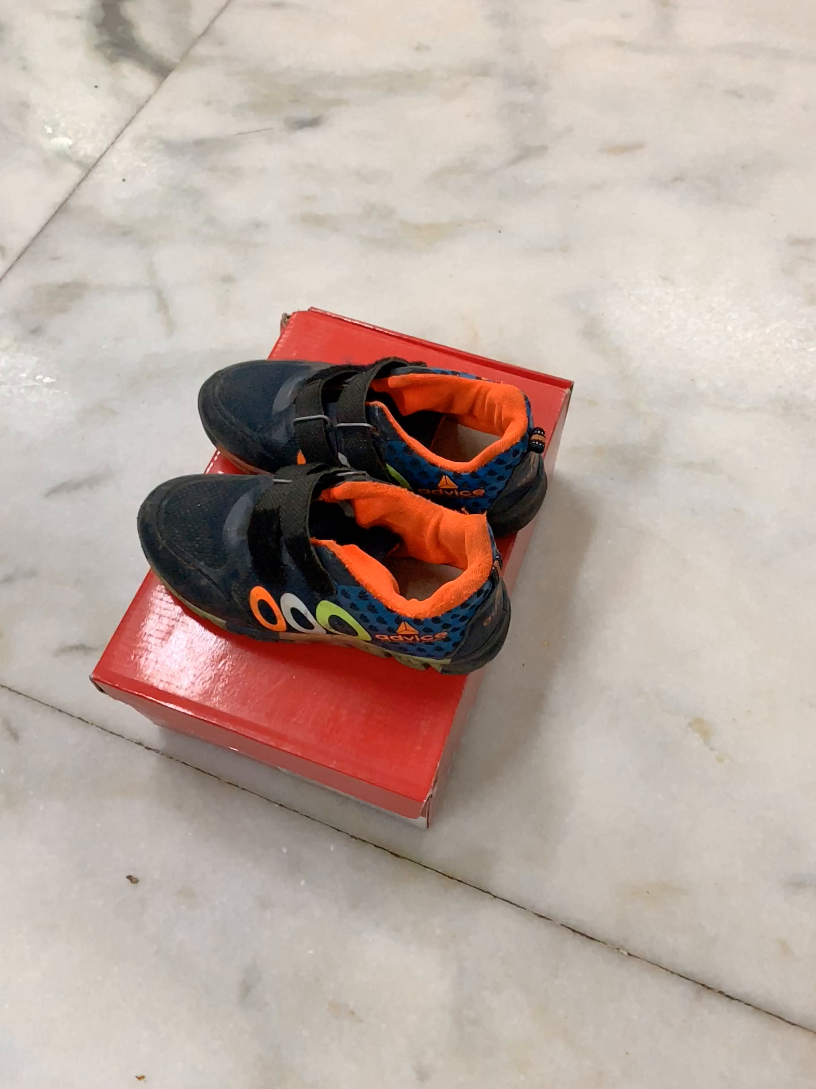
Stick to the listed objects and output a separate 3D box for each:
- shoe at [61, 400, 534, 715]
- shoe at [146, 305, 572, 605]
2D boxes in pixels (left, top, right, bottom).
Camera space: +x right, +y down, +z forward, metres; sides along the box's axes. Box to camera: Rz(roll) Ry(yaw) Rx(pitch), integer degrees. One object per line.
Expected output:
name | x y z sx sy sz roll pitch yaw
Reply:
shoe | -0.052 0.007 0.432 0.210 0.080 0.080 16 64 10
shoe | -0.024 -0.052 0.488 0.210 0.090 0.090 16 64 10
